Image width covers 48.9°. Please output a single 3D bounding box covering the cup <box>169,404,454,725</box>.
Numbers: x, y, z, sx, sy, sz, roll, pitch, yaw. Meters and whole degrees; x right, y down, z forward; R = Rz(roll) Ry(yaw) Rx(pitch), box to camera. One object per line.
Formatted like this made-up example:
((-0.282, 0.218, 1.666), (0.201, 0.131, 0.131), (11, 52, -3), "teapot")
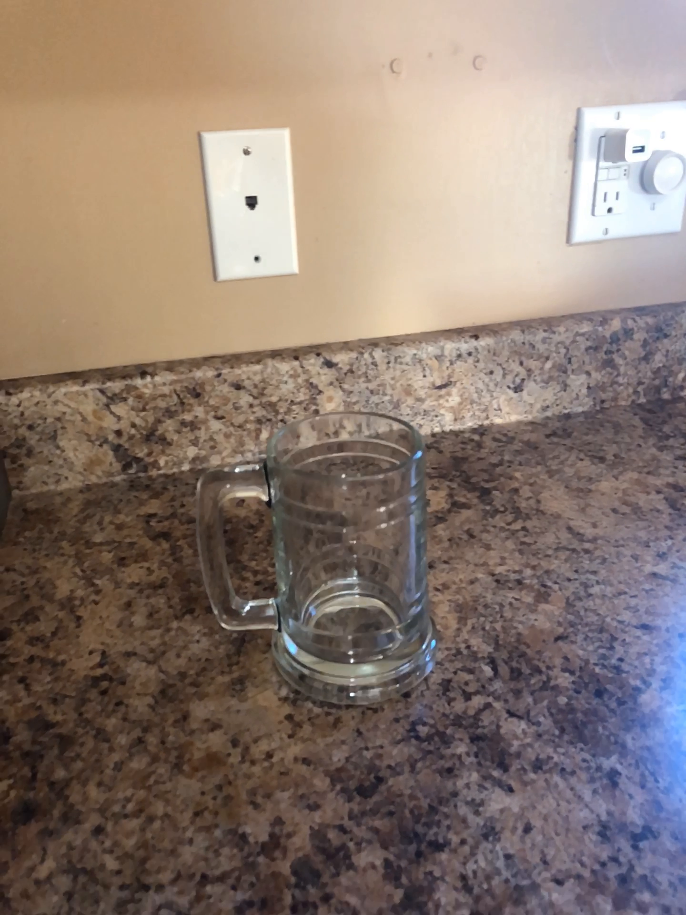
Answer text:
((-0.012, 0.056, 0.418), (0.130, 0.139, 0.100), (-2, 25, 1), "cup")
